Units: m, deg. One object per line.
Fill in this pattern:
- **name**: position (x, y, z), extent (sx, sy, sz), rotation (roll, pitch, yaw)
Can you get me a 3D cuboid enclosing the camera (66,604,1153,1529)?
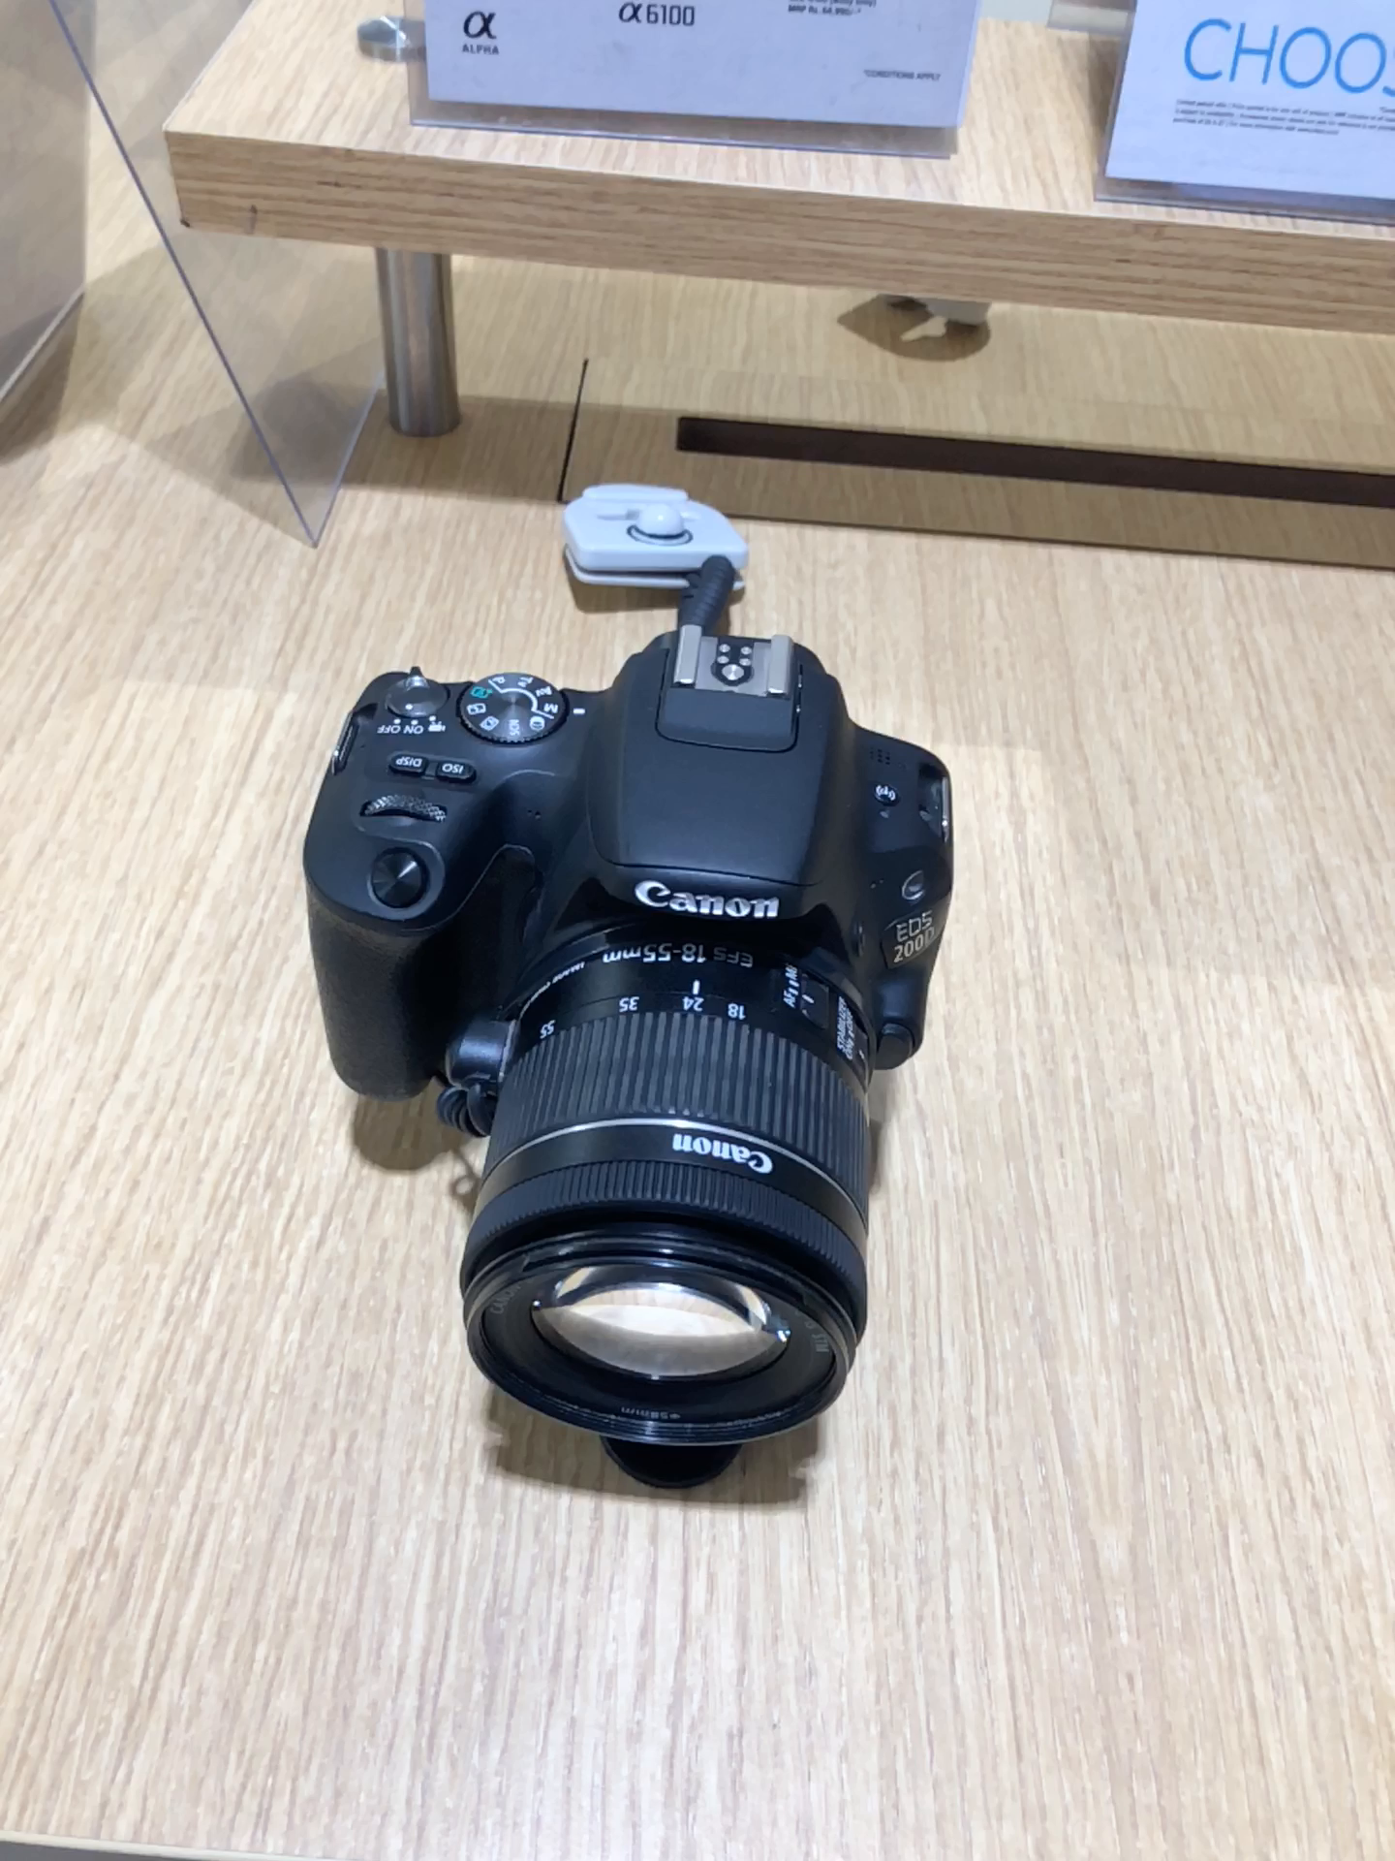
- **camera**: position (-0.009, 0.019, 0.253), extent (0.130, 0.080, 0.115), rotation (5, 48, 1)
